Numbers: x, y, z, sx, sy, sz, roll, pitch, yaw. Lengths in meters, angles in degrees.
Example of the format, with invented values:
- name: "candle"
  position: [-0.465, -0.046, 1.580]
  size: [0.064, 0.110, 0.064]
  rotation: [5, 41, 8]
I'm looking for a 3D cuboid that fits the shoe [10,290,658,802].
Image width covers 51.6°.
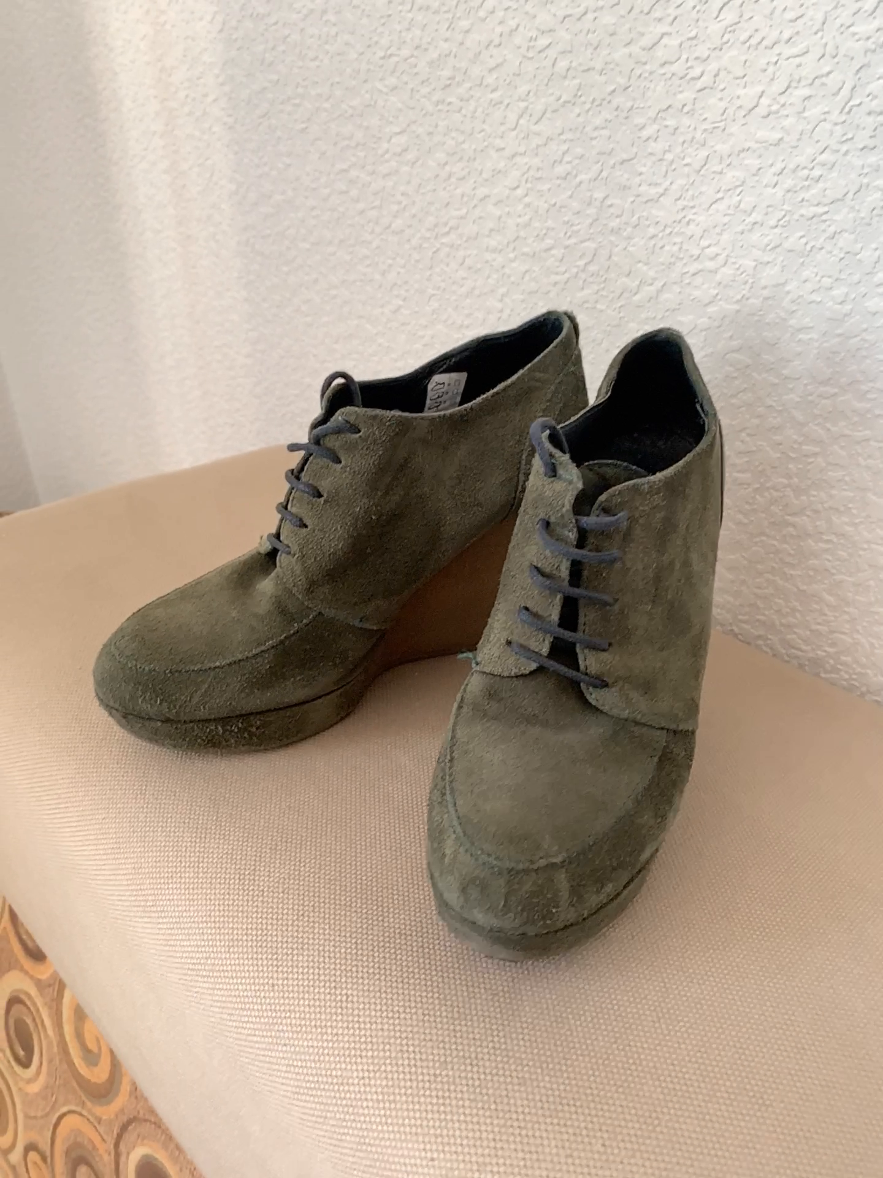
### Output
- name: "shoe"
  position: [-0.035, -0.030, 0.383]
  size: [0.229, 0.136, 0.087]
  rotation: [-18, 37, -25]

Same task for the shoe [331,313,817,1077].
- name: "shoe"
  position: [0.068, 0.008, 0.346]
  size: [0.080, 0.139, 0.271]
  rotation: [15, 36, 21]
